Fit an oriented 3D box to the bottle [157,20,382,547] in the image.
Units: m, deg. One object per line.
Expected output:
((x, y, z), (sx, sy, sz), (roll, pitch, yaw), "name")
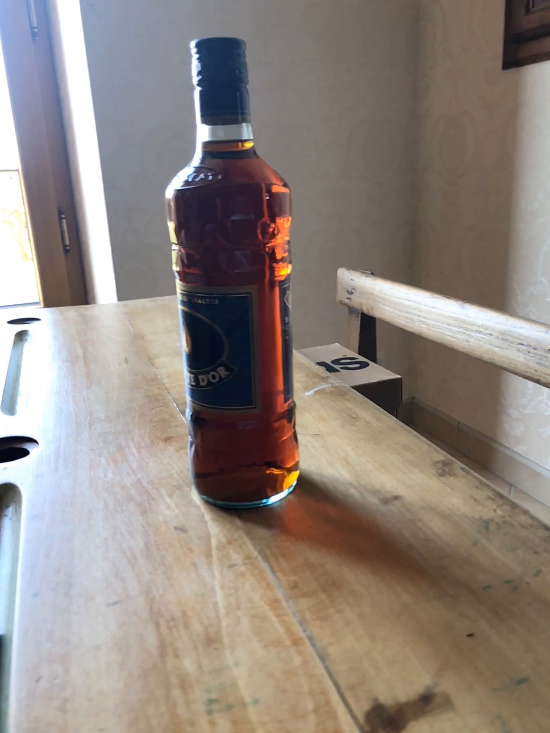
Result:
((-0.001, -0.046, 0.376), (0.100, 0.279, 0.090), (-9, 18, -19), "bottle")
